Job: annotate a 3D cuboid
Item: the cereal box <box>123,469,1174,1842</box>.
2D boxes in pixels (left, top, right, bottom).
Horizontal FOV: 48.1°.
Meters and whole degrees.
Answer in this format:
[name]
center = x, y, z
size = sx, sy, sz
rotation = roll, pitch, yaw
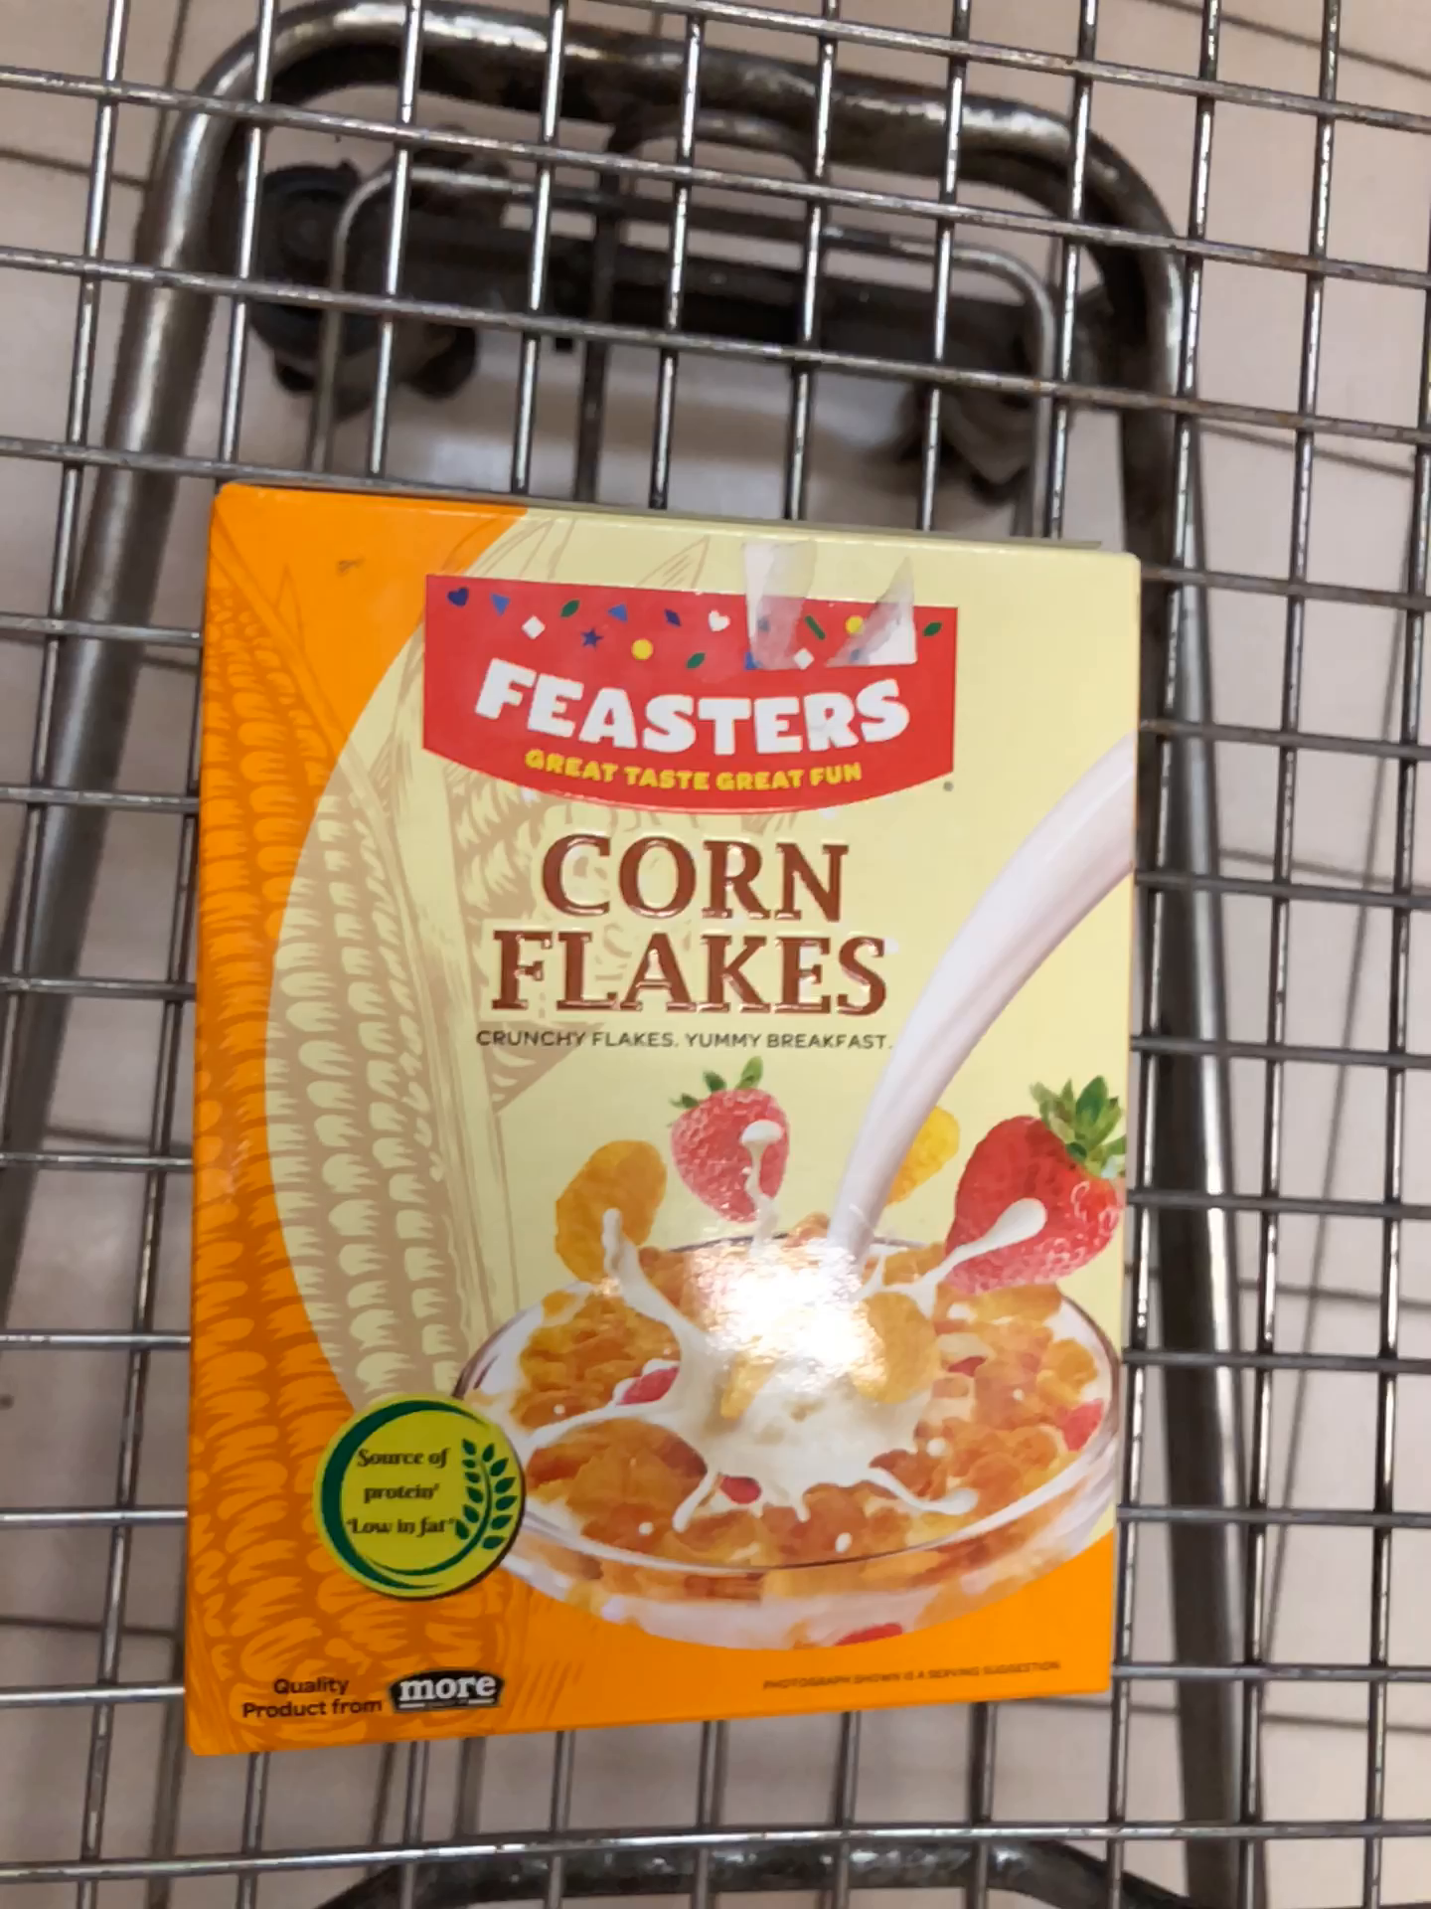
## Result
[cereal box]
center = -0.011, 0.028, 0.251
size = 0.140, 0.060, 0.180
rotation = 2, 92, -10
